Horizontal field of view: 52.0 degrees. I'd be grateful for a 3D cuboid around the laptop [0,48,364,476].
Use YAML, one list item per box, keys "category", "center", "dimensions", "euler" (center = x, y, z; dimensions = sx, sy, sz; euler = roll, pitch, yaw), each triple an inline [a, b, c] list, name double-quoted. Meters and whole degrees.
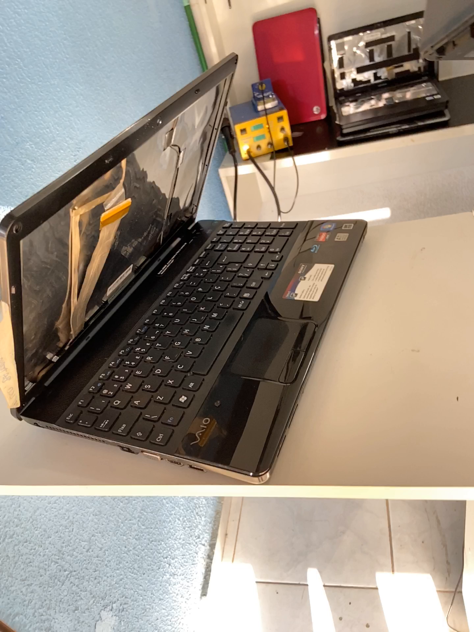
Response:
- category: "laptop"
  center: [-0.048, -0.087, 0.468]
  dimensions: [0.242, 0.193, 0.365]
  euler: [4, 41, 27]
